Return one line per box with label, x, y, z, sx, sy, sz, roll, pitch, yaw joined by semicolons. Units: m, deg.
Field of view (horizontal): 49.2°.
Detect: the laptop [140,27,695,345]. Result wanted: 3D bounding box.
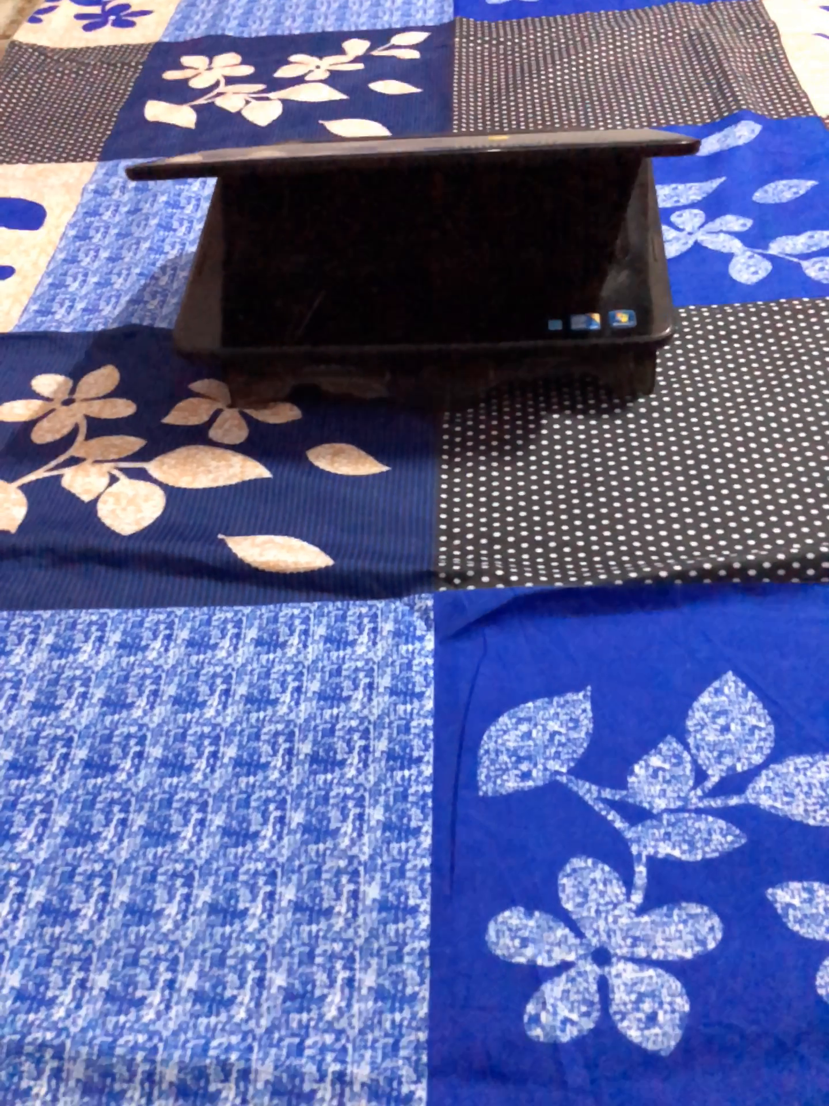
laptop;0.006;-0.282;0.689;0.362;0.092;0.237;0;55;5
